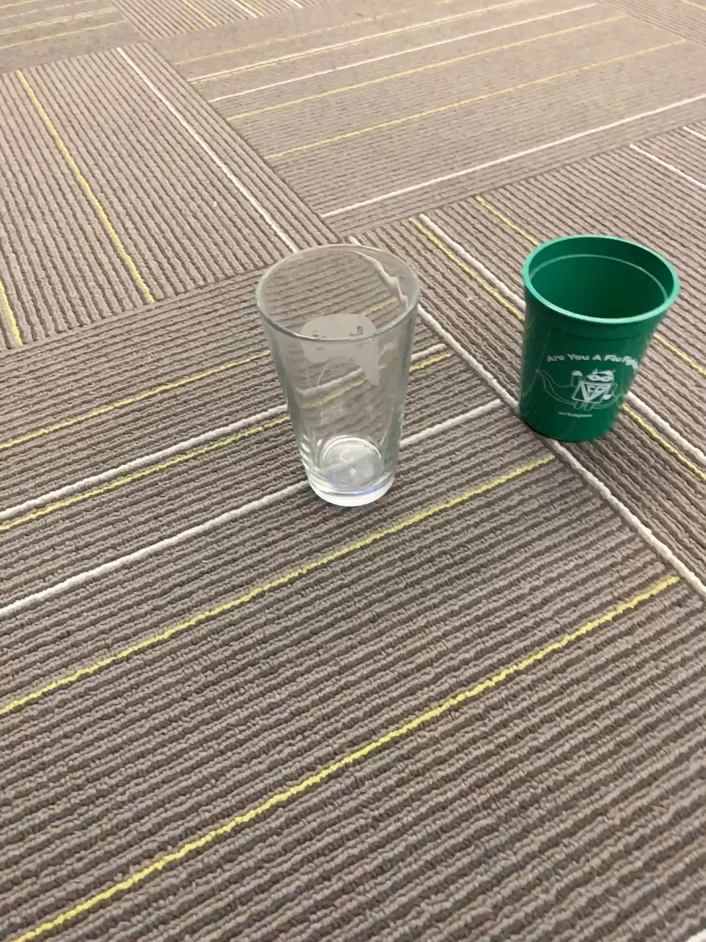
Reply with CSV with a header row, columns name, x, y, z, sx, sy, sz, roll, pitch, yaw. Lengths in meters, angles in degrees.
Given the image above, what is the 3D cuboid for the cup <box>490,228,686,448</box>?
name,x,y,z,sx,sy,sz,roll,pitch,yaw
cup,0.148,-0.089,0.486,0.100,0.099,0.100,-2,49,2

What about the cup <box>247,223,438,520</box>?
name,x,y,z,sx,sy,sz,roll,pitch,yaw
cup,-0.006,-0.055,0.429,0.090,0.139,0.090,-2,49,2
